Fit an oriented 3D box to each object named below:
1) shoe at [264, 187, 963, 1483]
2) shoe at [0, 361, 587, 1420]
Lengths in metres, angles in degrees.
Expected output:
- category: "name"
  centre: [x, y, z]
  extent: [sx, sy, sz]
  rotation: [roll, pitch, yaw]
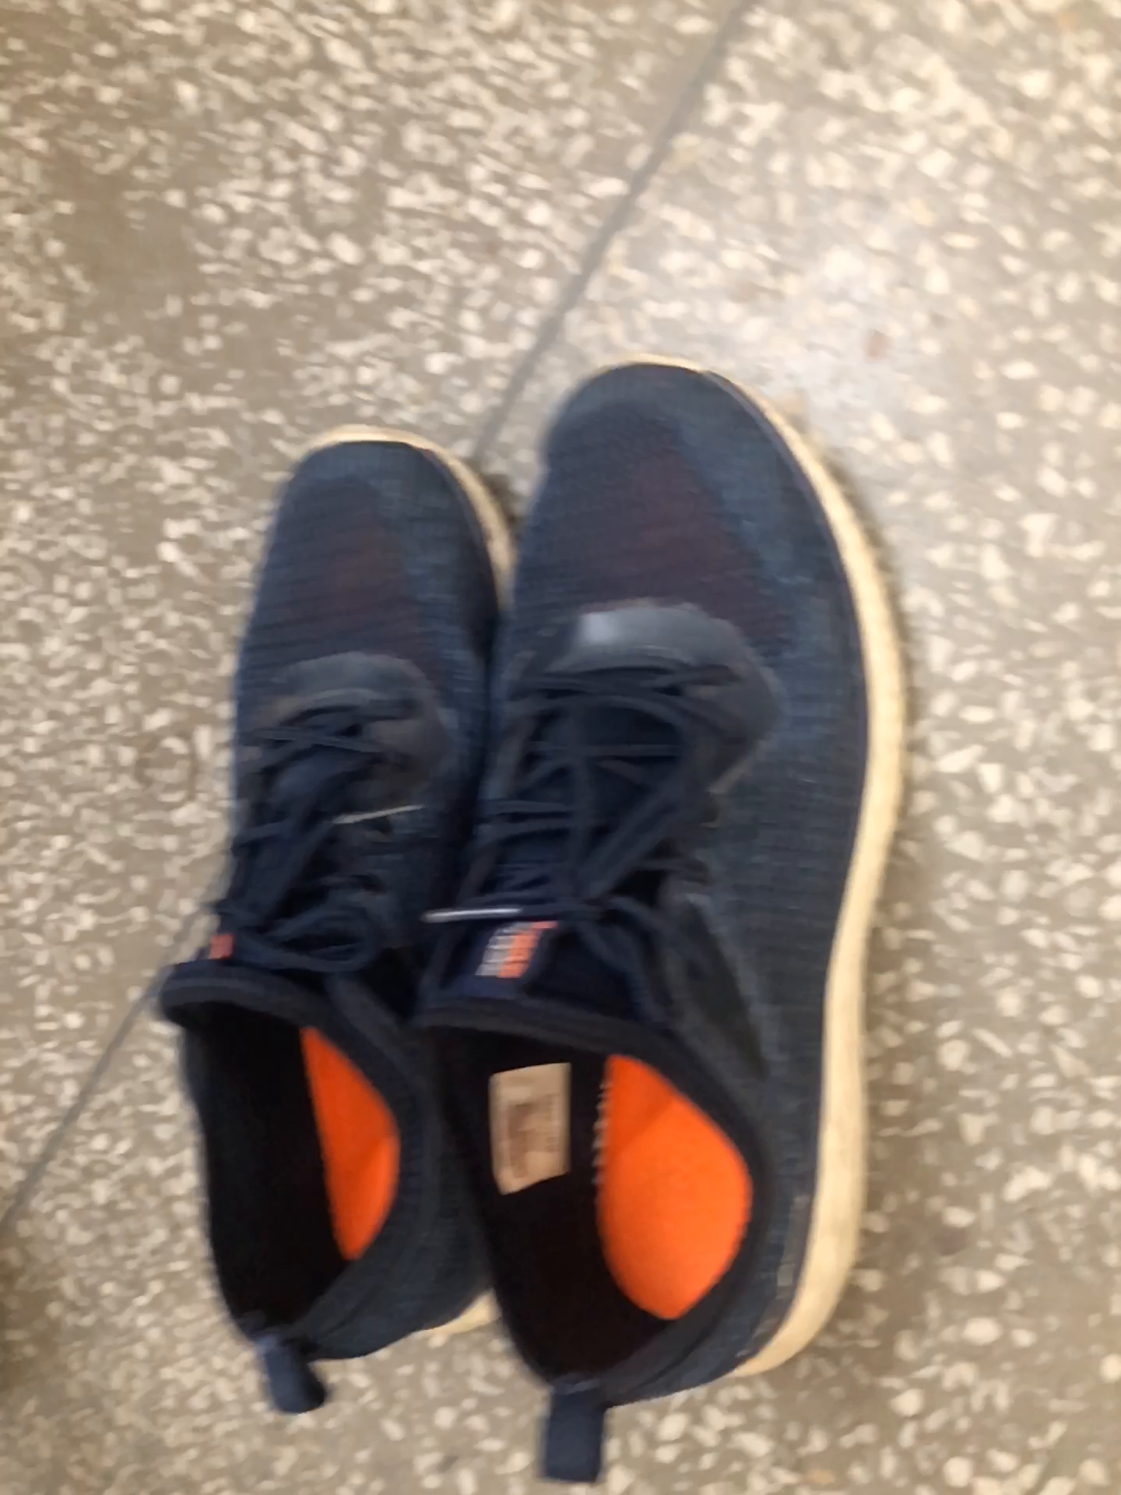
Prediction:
- category: "shoe"
  centre: [0.017, 0.020, 0.312]
  extent: [0.124, 0.100, 0.249]
  rotation: [-5, 89, 28]
- category: "shoe"
  centre: [-0.079, 0.037, 0.362]
  extent: [0.113, 0.100, 0.249]
  rotation: [-7, 88, 28]
